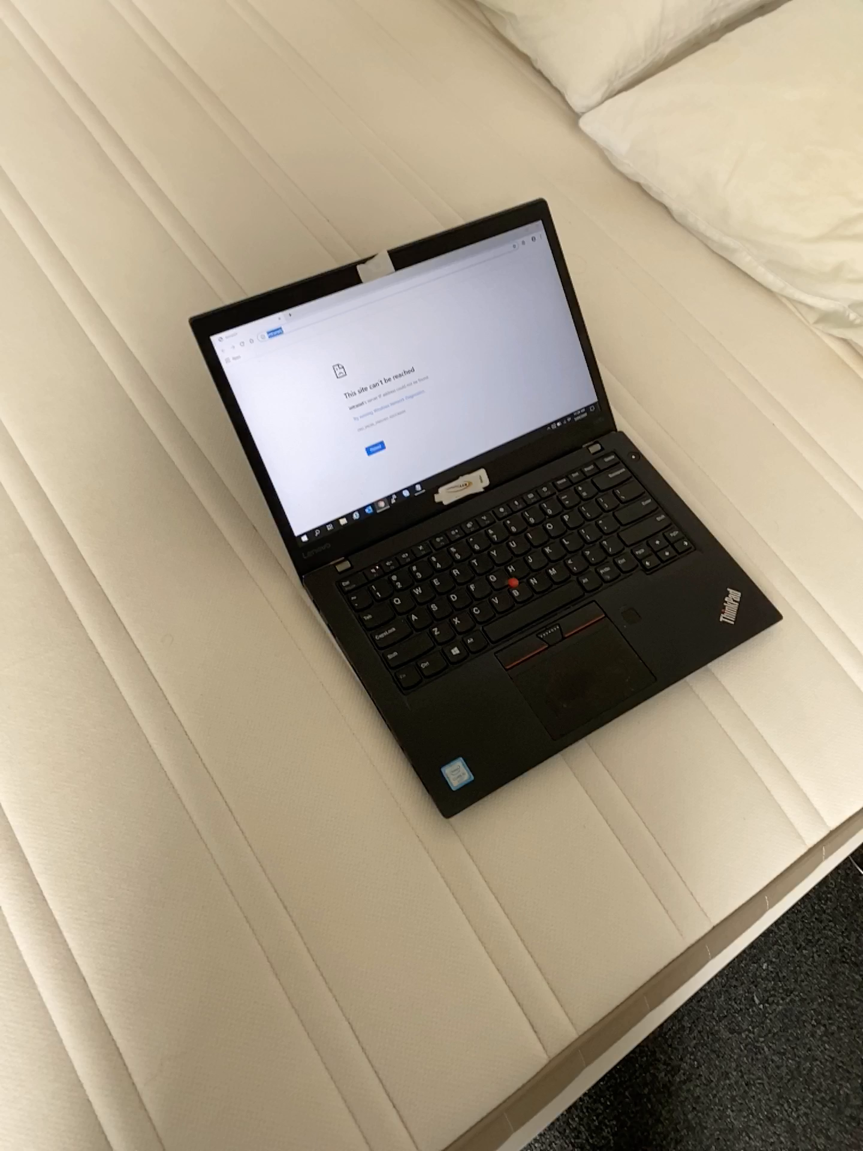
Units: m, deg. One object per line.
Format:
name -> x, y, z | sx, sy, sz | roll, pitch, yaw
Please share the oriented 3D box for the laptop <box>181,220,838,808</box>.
laptop -> 0.044, -0.076, 0.689 | 0.321, 0.120, 0.381 | -26, 65, -21
